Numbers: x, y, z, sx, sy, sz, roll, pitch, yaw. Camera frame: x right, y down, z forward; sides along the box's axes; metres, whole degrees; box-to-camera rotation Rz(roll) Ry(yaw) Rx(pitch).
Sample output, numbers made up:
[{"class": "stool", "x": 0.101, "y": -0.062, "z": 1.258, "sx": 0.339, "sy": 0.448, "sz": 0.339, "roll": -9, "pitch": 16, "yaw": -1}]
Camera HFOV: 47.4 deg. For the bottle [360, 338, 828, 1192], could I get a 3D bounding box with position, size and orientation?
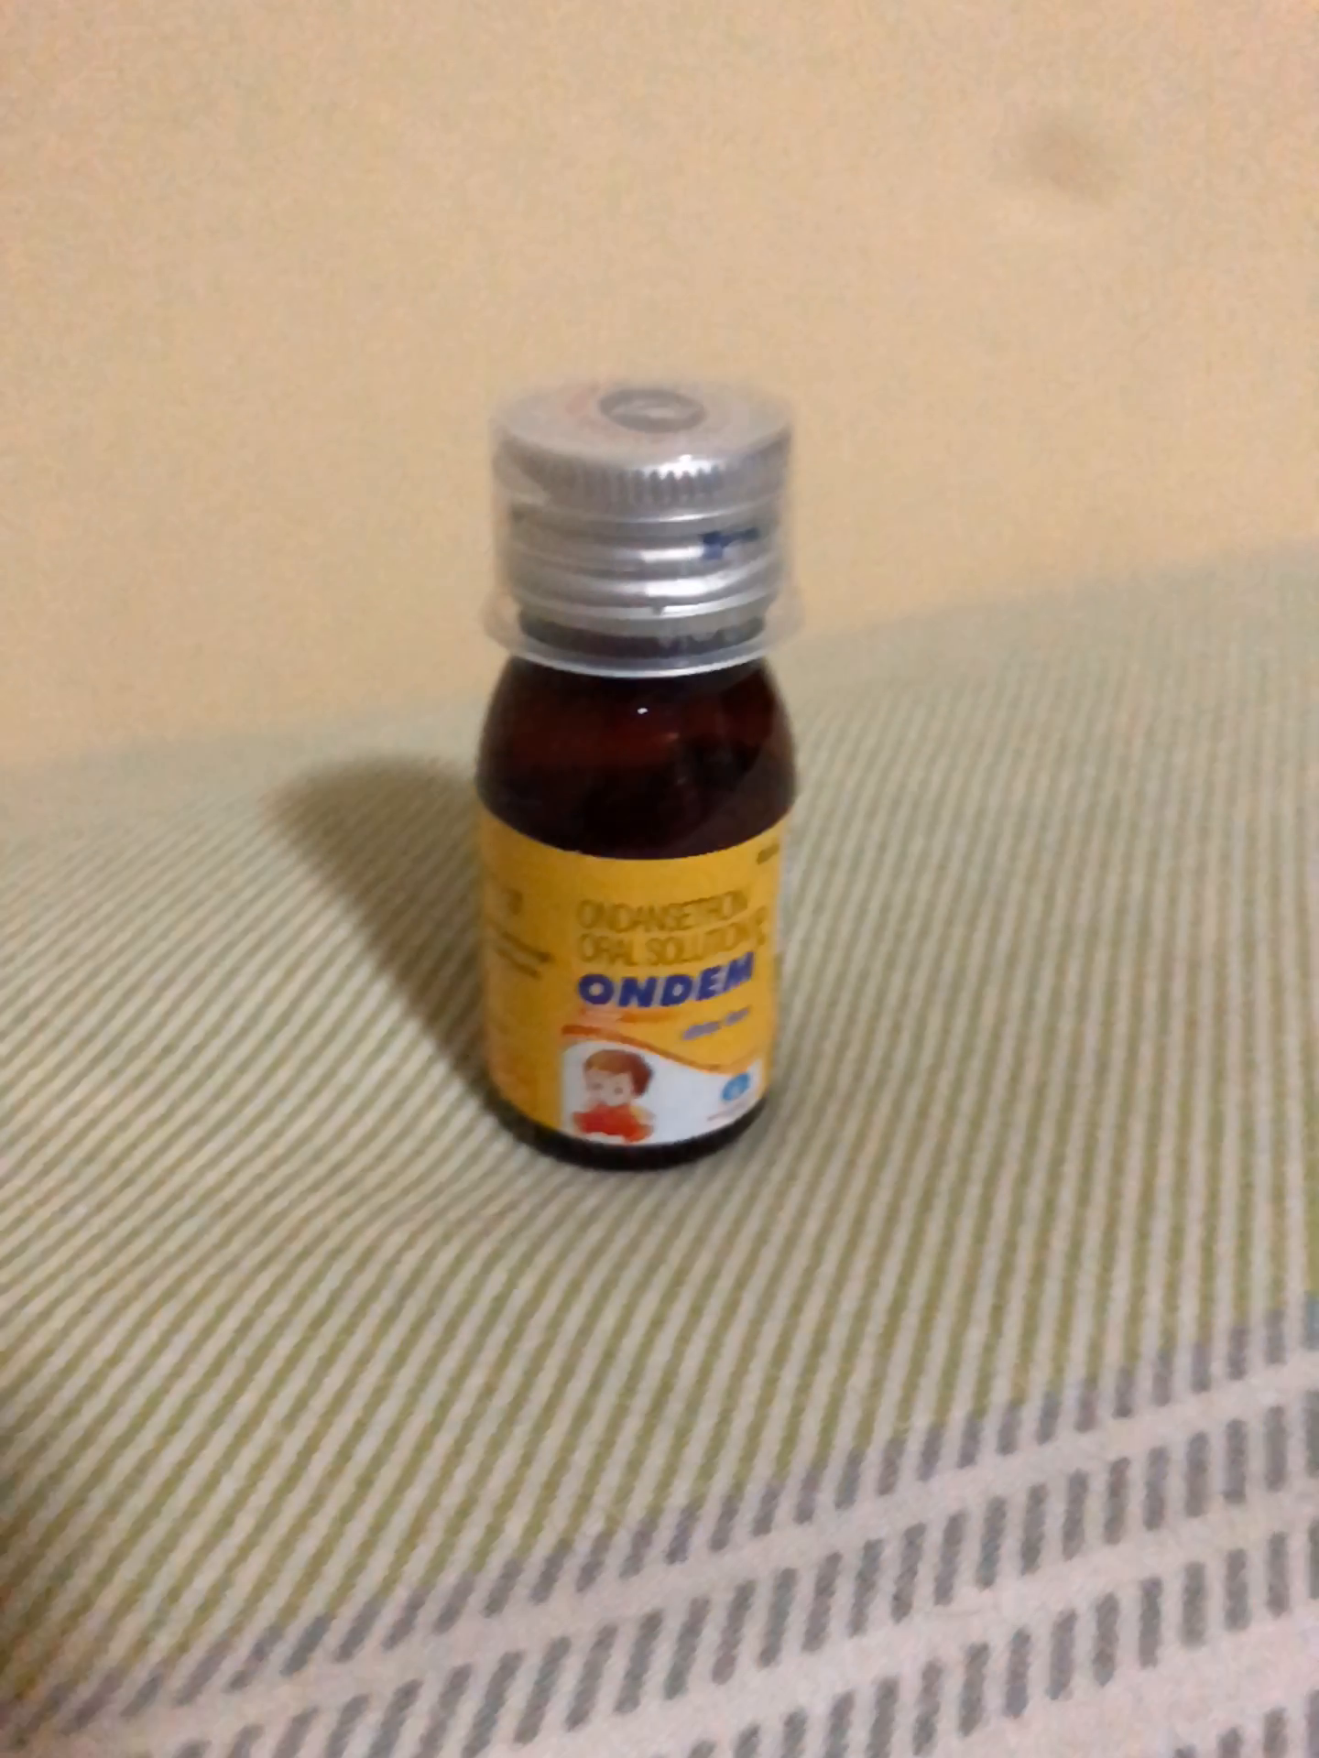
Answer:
[{"class": "bottle", "x": -0.005, "y": -0.011, "z": 0.153, "sx": 0.037, "sy": 0.076, "sz": 0.038, "roll": -1, "pitch": 32, "yaw": 1}]
